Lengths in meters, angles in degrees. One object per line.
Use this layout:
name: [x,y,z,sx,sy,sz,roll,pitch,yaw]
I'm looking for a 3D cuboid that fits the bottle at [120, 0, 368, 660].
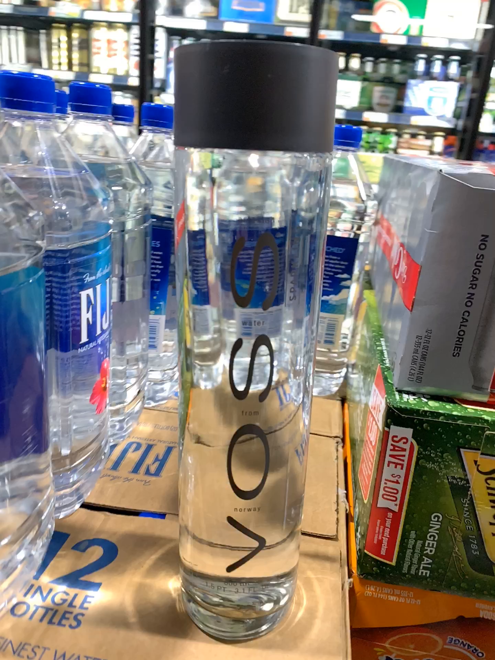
bottle: [-0.008,0.017,0.250,0.080,0.289,0.080,4,20,-1]
